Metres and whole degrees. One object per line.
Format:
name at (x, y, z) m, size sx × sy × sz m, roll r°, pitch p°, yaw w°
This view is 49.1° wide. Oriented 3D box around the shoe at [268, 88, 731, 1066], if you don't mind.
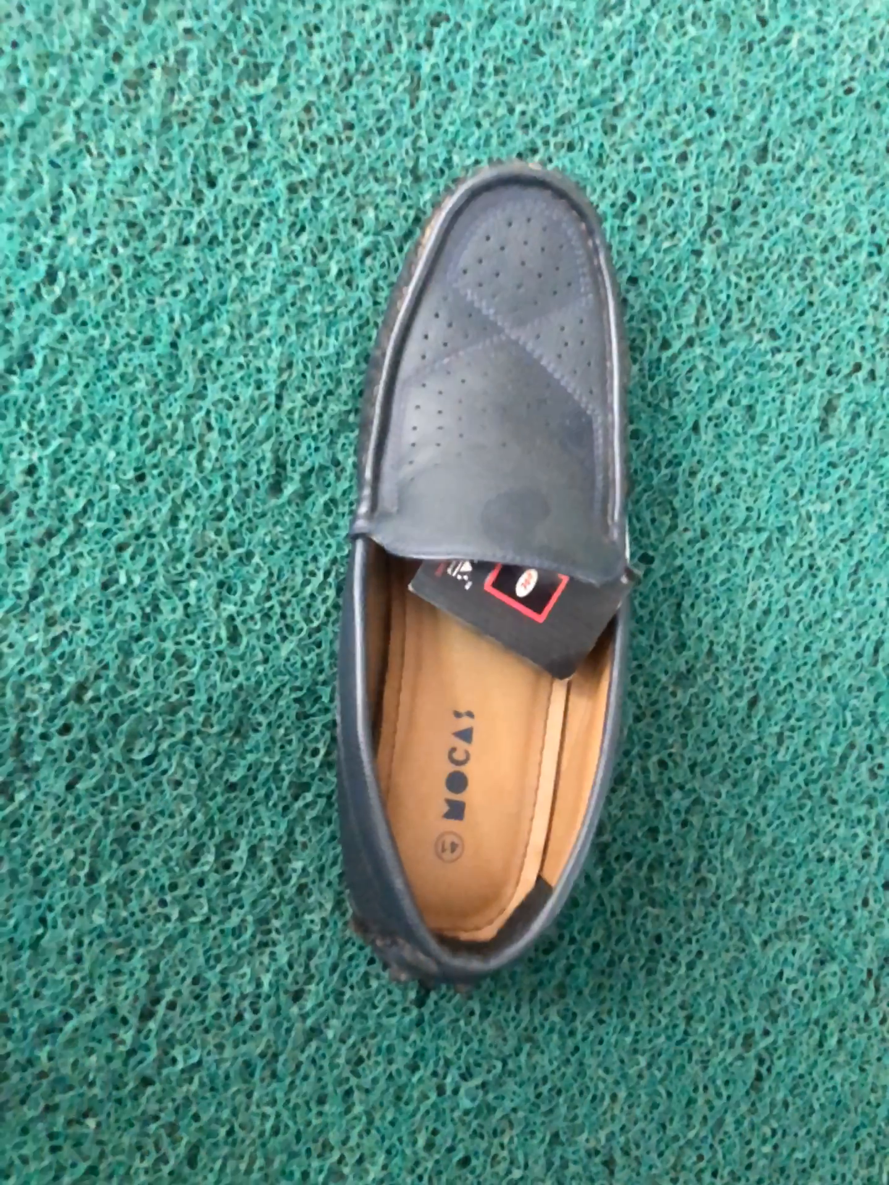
shoe at (0.016, -0.004, 0.325) m, size 0.100 × 0.070 × 0.280 m, roll 10°, pitch 84°, yaw -12°
